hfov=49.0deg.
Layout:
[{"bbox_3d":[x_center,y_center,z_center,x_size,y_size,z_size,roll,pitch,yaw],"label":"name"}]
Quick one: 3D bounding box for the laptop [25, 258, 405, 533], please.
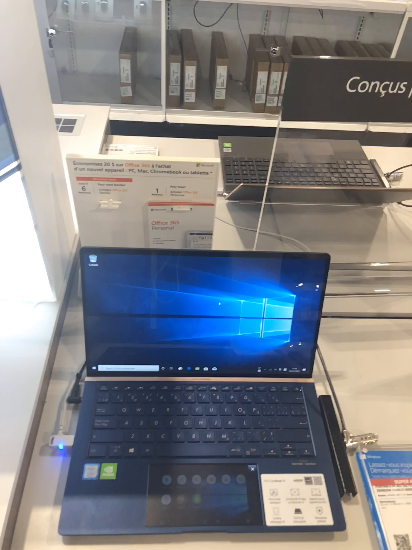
[{"bbox_3d":[0.001,0.130,0.524,0.308,0.179,0.254,1,42,-4],"label":"laptop"}]
